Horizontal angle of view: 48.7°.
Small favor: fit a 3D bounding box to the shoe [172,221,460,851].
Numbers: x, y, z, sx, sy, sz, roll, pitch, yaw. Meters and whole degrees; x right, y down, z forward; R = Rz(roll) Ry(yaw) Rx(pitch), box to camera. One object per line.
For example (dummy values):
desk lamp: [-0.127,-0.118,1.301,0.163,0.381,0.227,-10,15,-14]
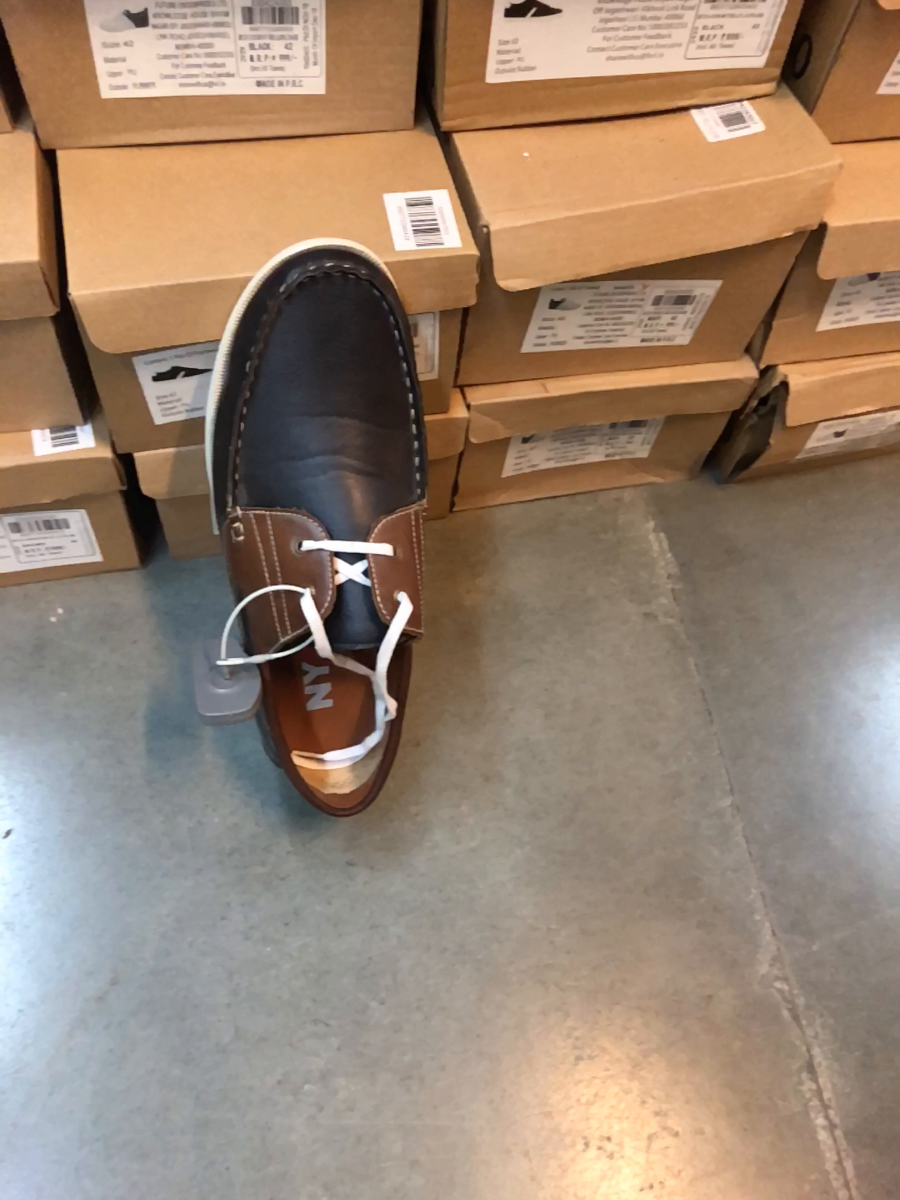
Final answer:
shoe: [-0.058,-0.028,0.455,0.102,0.264,0.099,-4,26,-10]
